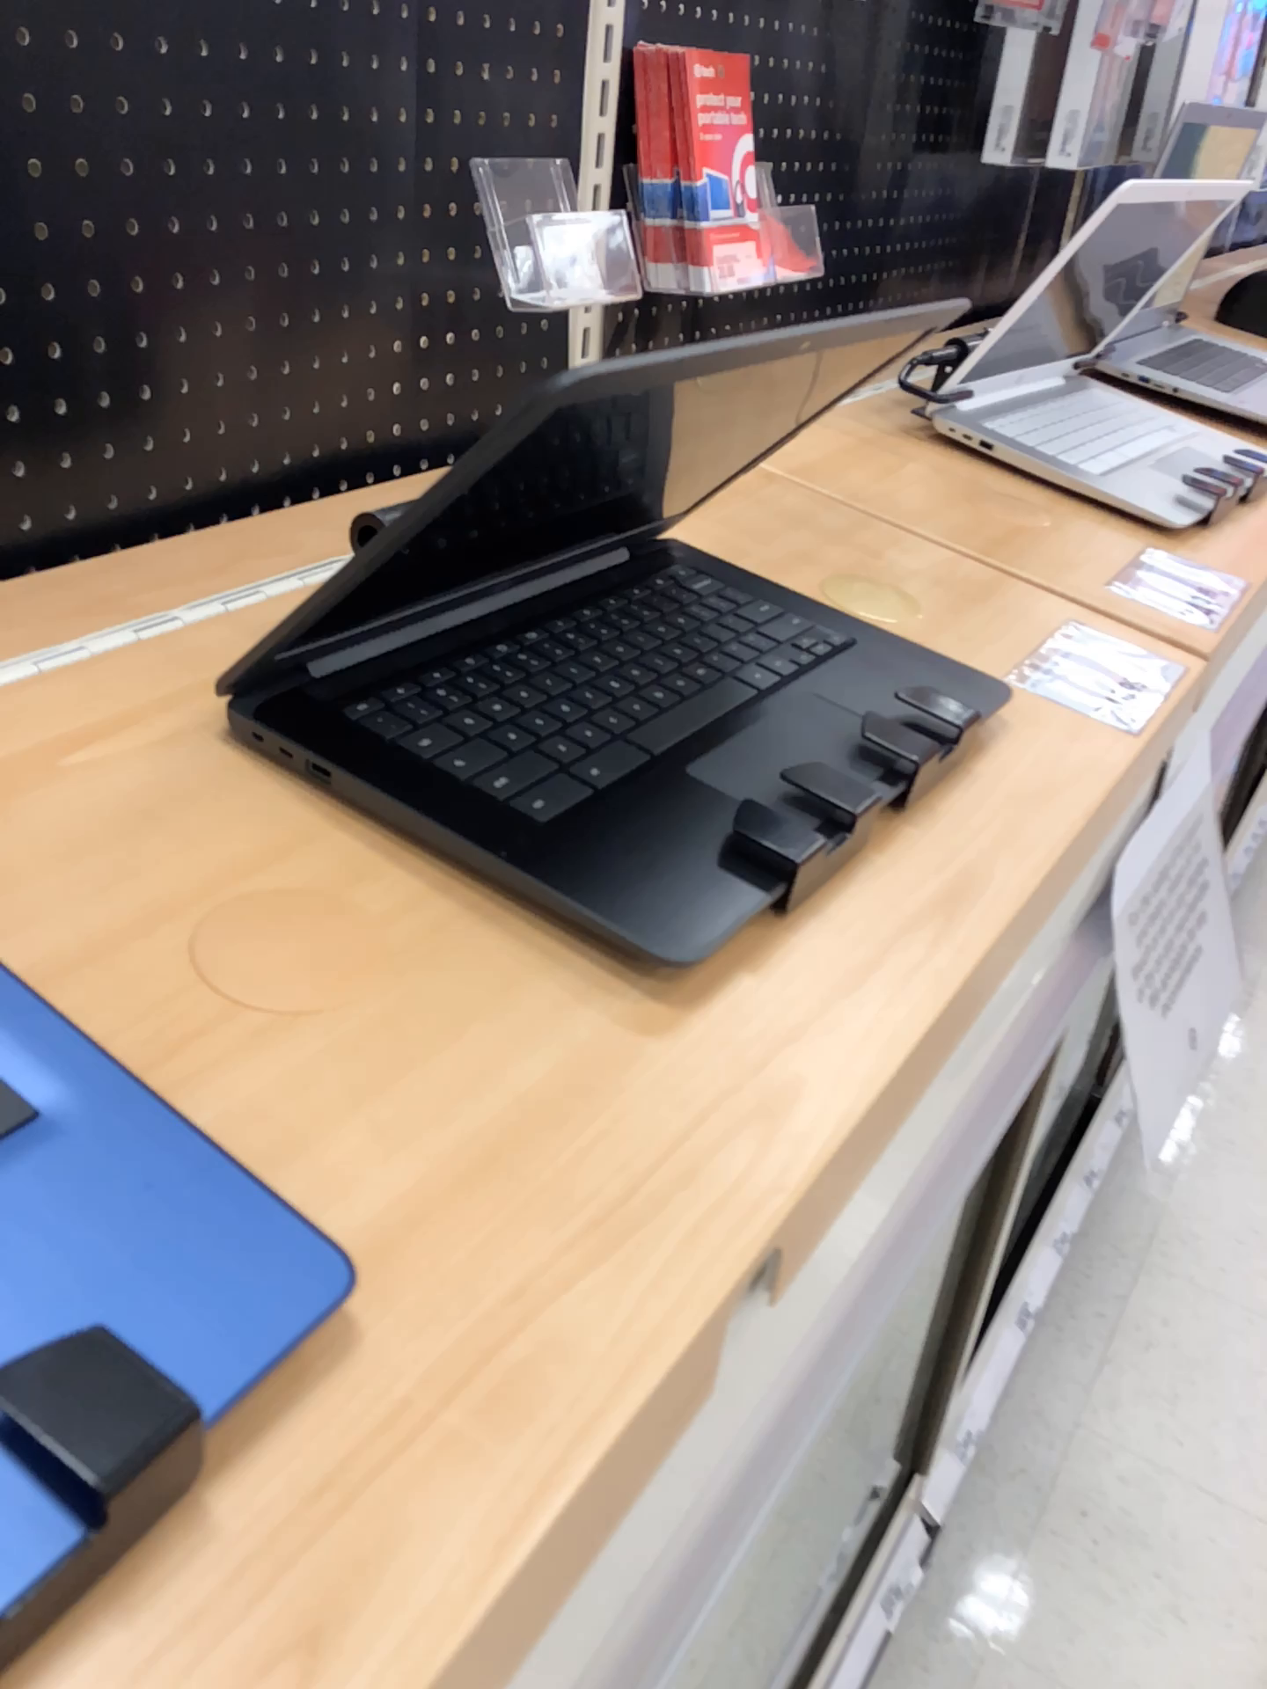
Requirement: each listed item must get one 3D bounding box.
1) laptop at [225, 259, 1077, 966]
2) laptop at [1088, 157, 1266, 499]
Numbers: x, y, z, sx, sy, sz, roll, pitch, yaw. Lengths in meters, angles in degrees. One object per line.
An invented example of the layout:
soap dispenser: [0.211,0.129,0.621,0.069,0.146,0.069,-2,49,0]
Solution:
laptop: [0.027,-0.127,0.569,0.200,0.144,0.320,26,34,22]
laptop: [0.604,-0.595,1.498,0.221,0.133,0.833,16,35,-7]
